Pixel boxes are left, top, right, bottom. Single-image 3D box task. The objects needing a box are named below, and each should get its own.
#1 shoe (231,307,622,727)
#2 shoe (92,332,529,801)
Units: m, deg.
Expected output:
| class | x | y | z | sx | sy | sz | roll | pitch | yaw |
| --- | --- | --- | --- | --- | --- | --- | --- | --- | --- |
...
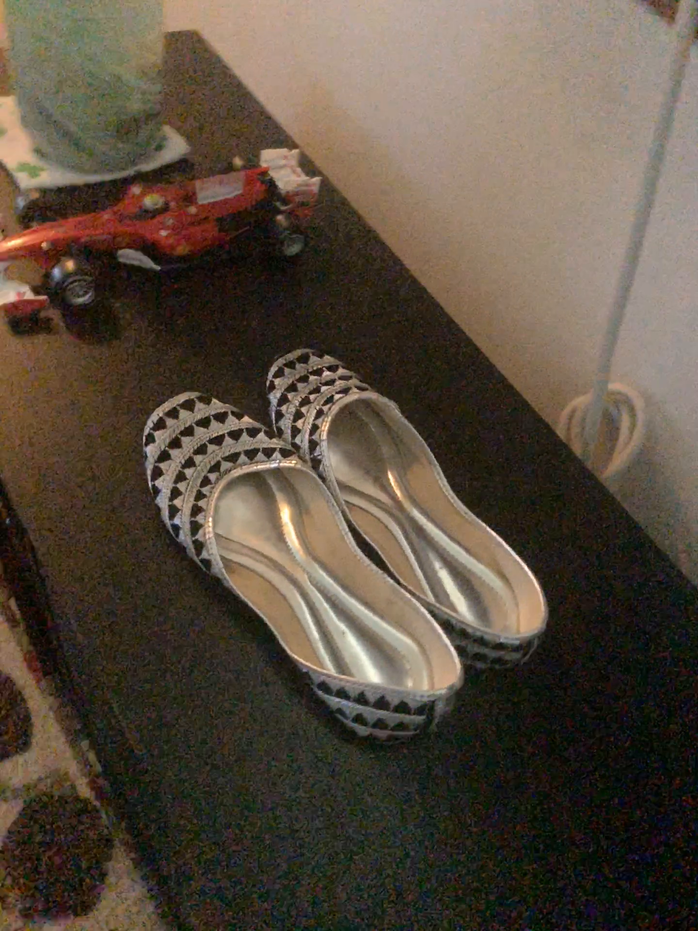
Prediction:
| class | x | y | z | sx | sy | sz | roll | pitch | yaw |
| --- | --- | --- | --- | --- | --- | --- | --- | --- | --- |
| shoe | 0.039 | 0.023 | 0.492 | 0.101 | 0.079 | 0.271 | -27 | 67 | -31 |
| shoe | -0.034 | 0.049 | 0.429 | 0.101 | 0.079 | 0.261 | -32 | 70 | -33 |
